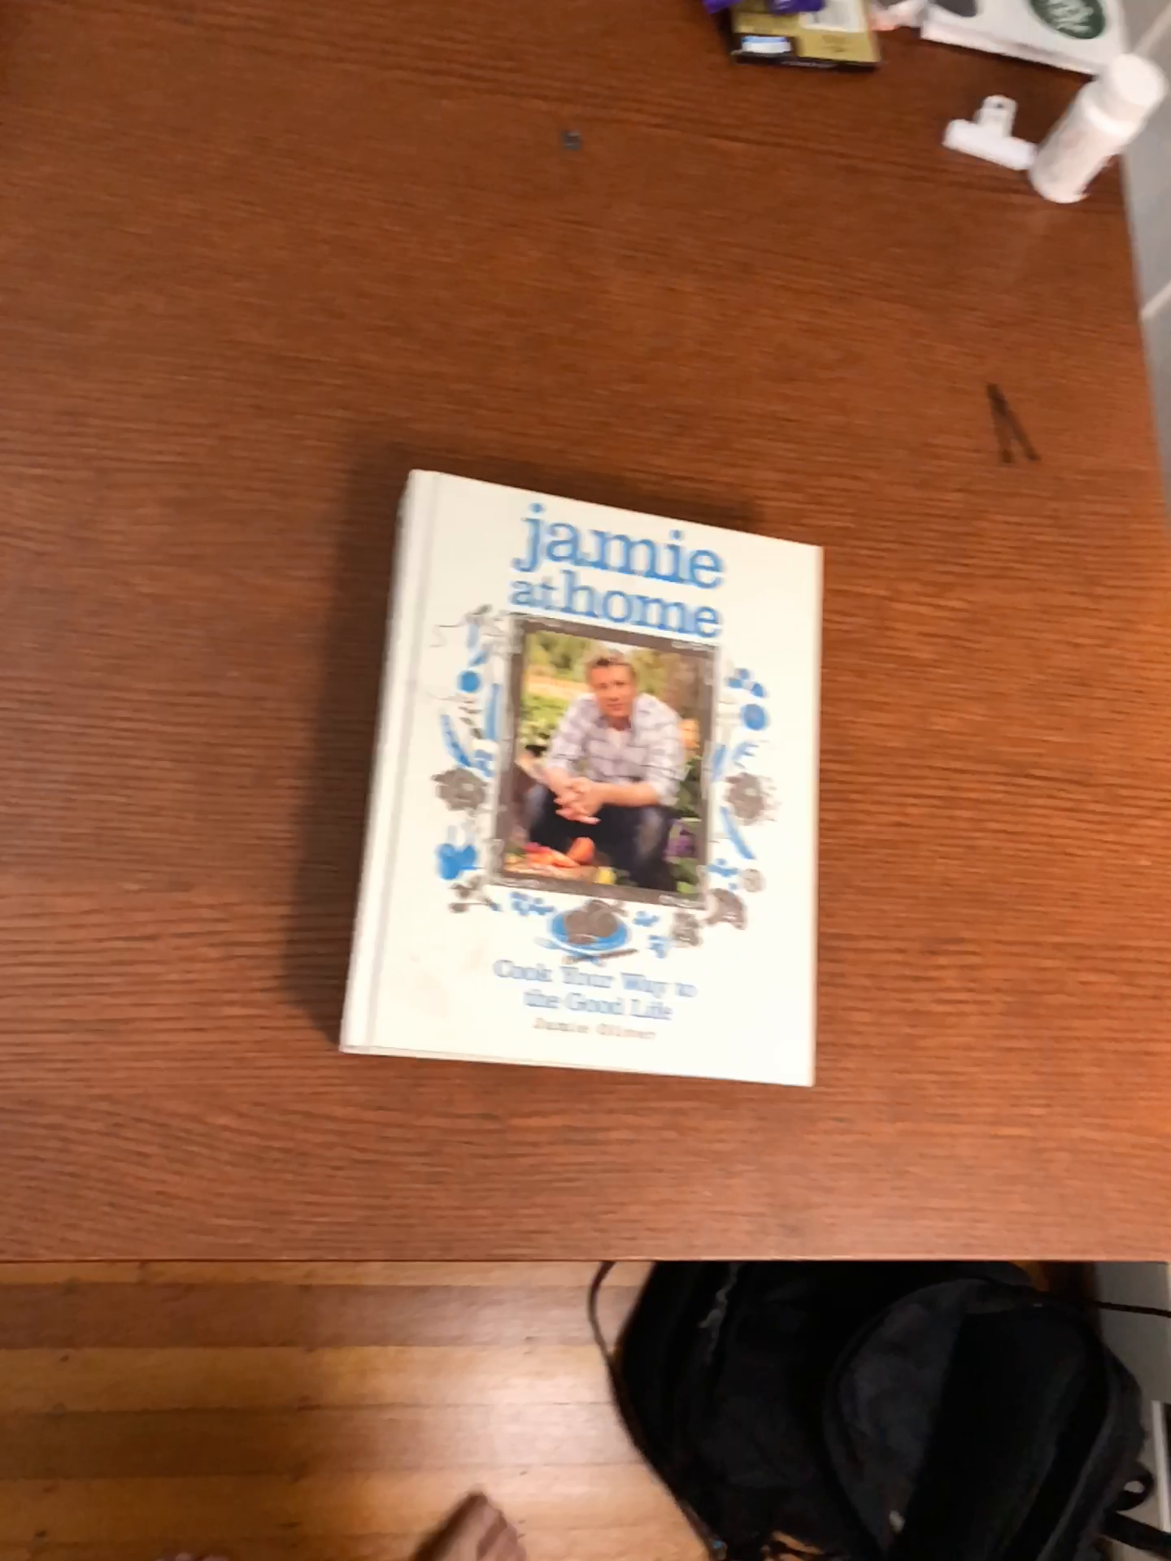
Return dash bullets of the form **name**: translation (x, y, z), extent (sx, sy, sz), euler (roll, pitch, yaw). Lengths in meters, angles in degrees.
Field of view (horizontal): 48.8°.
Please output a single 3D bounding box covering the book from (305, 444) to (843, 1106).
- **book**: translation (0.004, -0.003, 0.559), extent (0.210, 0.040, 0.261), euler (8, 72, -11)
